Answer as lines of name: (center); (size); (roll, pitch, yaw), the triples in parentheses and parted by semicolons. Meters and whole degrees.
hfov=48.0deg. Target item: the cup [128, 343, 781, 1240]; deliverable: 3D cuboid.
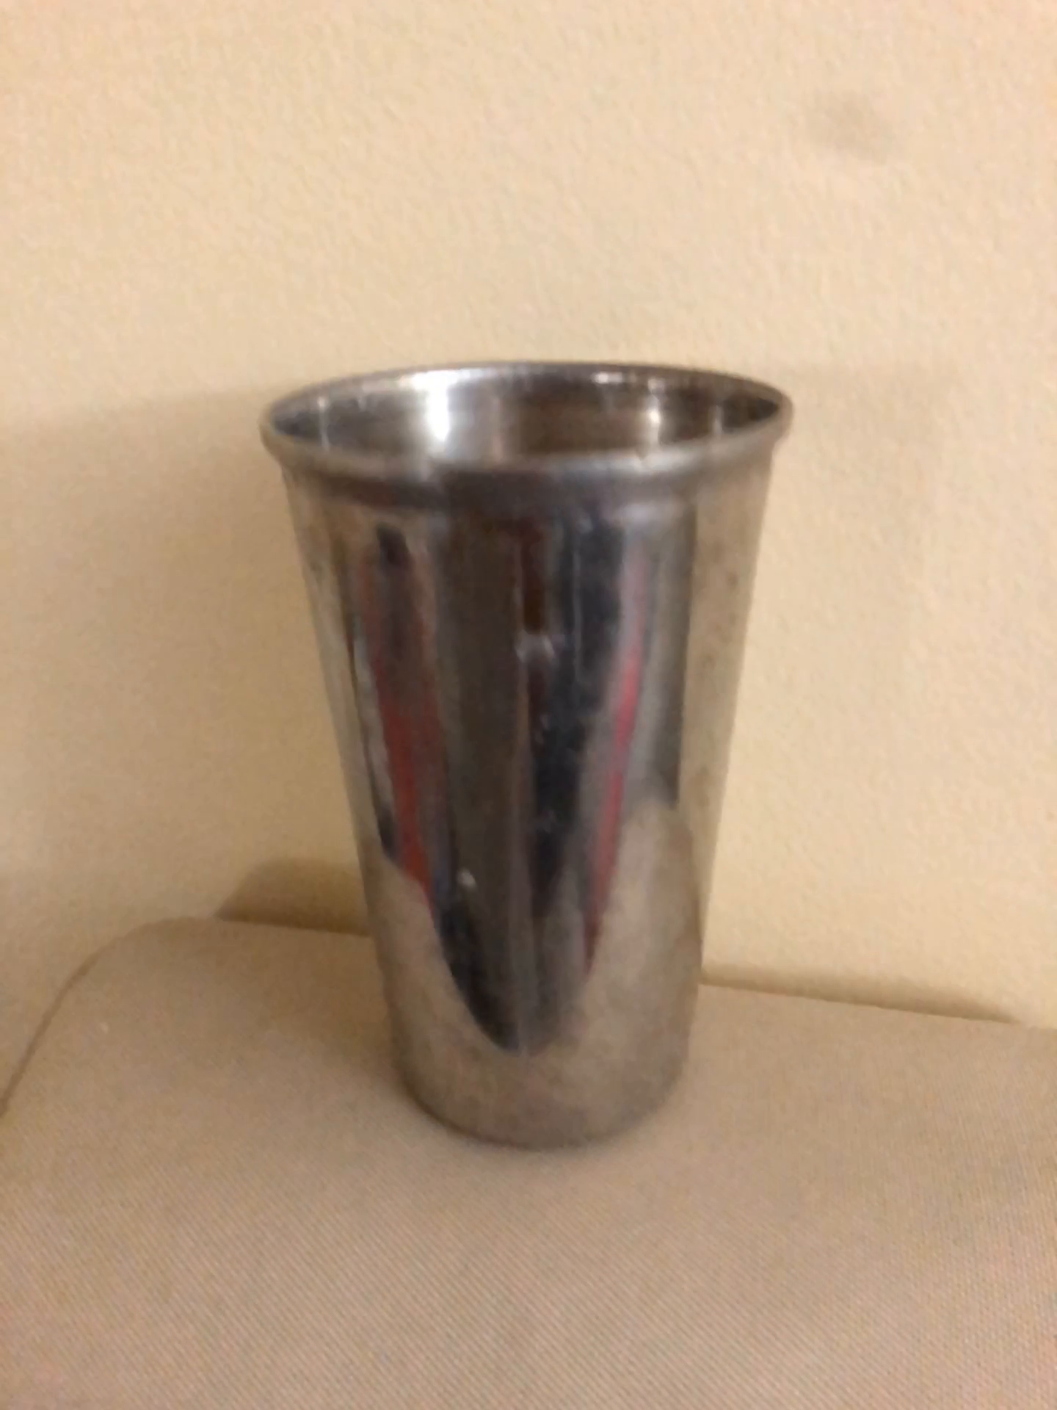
cup: (-0.004, 0.006, 0.188); (0.074, 0.113, 0.073); (0, 22, 0)
